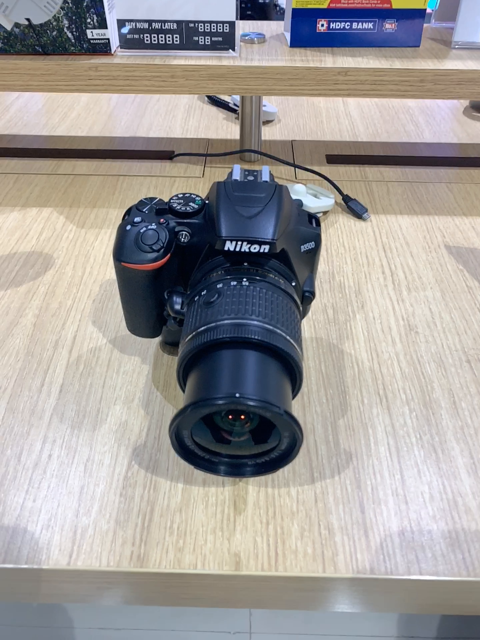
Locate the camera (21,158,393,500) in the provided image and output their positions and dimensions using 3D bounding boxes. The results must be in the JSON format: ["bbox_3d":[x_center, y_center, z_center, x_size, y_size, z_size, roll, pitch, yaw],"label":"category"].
[{"bbox_3d":[-0.009,-0.001,0.235,0.117,0.095,0.131,2,44,1],"label":"camera"}]
